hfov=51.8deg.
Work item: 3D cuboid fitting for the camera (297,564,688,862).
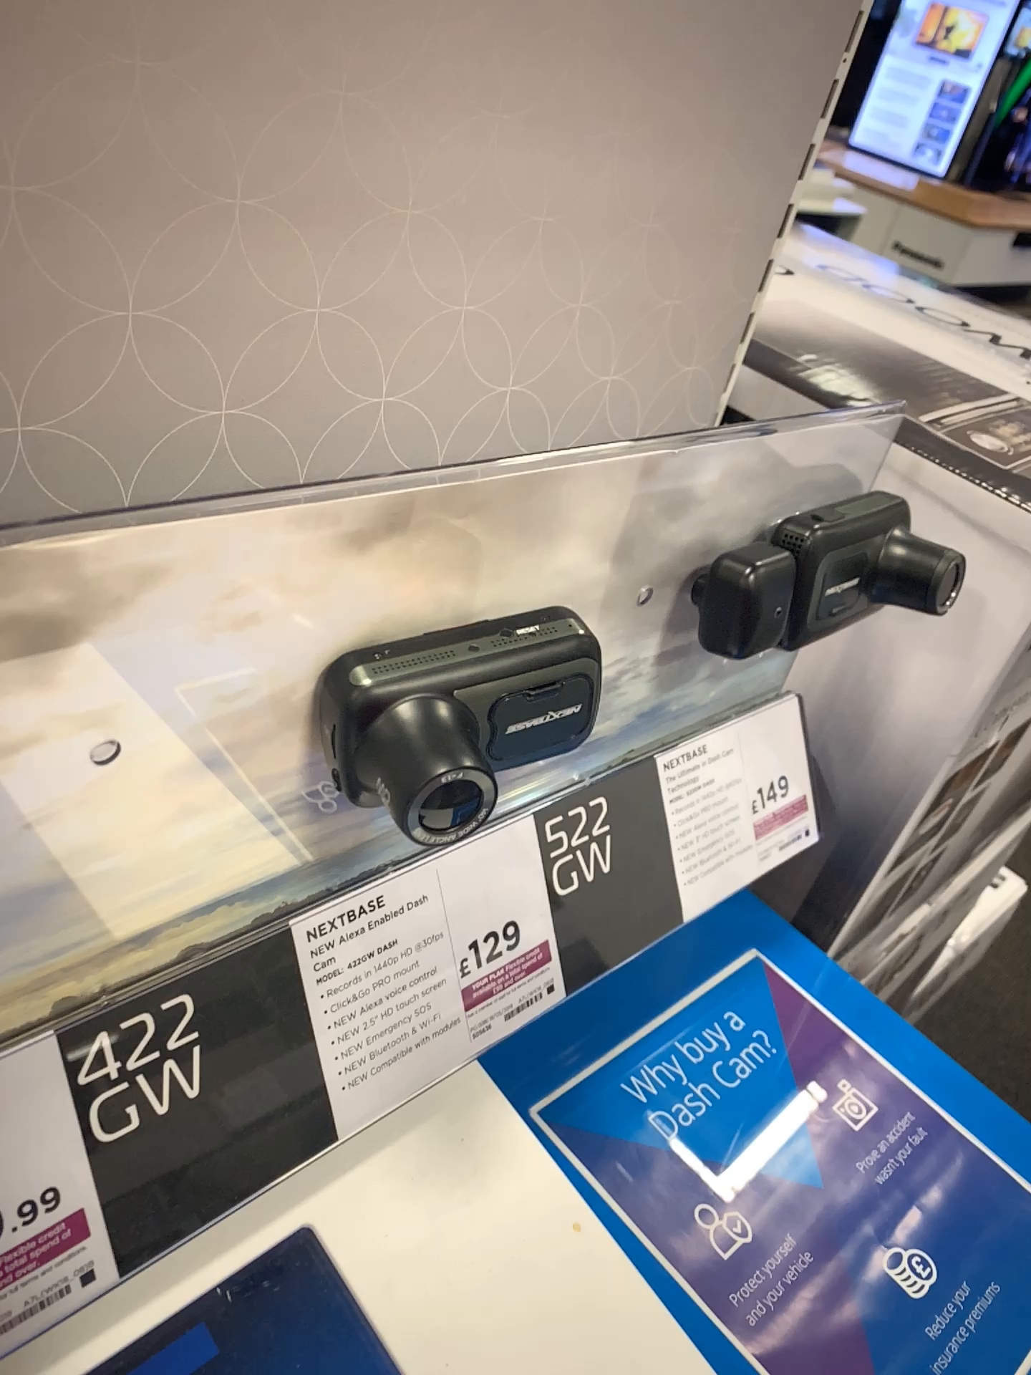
[{"bbox_3d":[-0.007,0.004,0.290,0.090,0.040,0.050,-14,39,-22],"label":"camera"}]
